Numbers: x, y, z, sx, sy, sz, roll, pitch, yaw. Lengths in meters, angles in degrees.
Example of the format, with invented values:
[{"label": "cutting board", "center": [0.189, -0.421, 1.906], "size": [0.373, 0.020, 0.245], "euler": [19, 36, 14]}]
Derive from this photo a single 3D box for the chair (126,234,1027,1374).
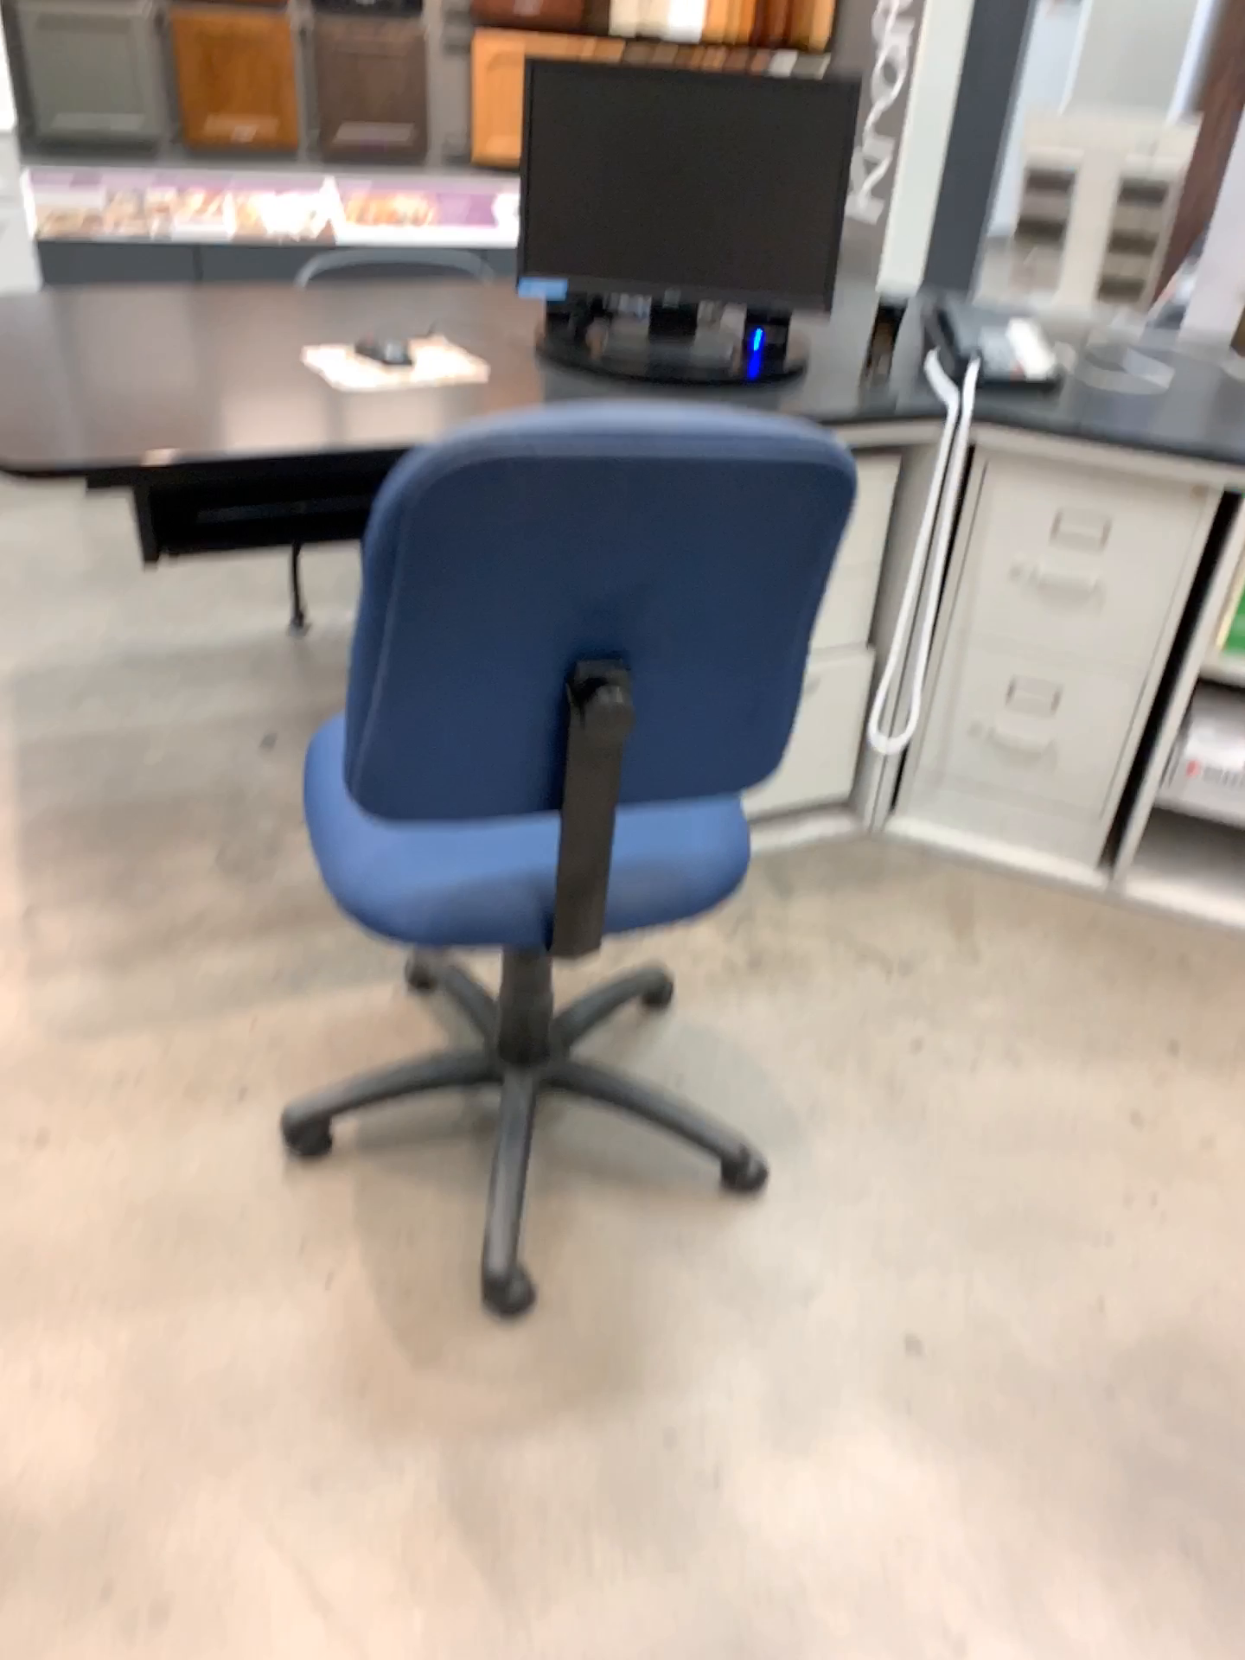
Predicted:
[{"label": "chair", "center": [-0.127, -0.054, 1.450], "size": [0.658, 1.036, 0.696], "euler": [-5, 34, -14]}]
